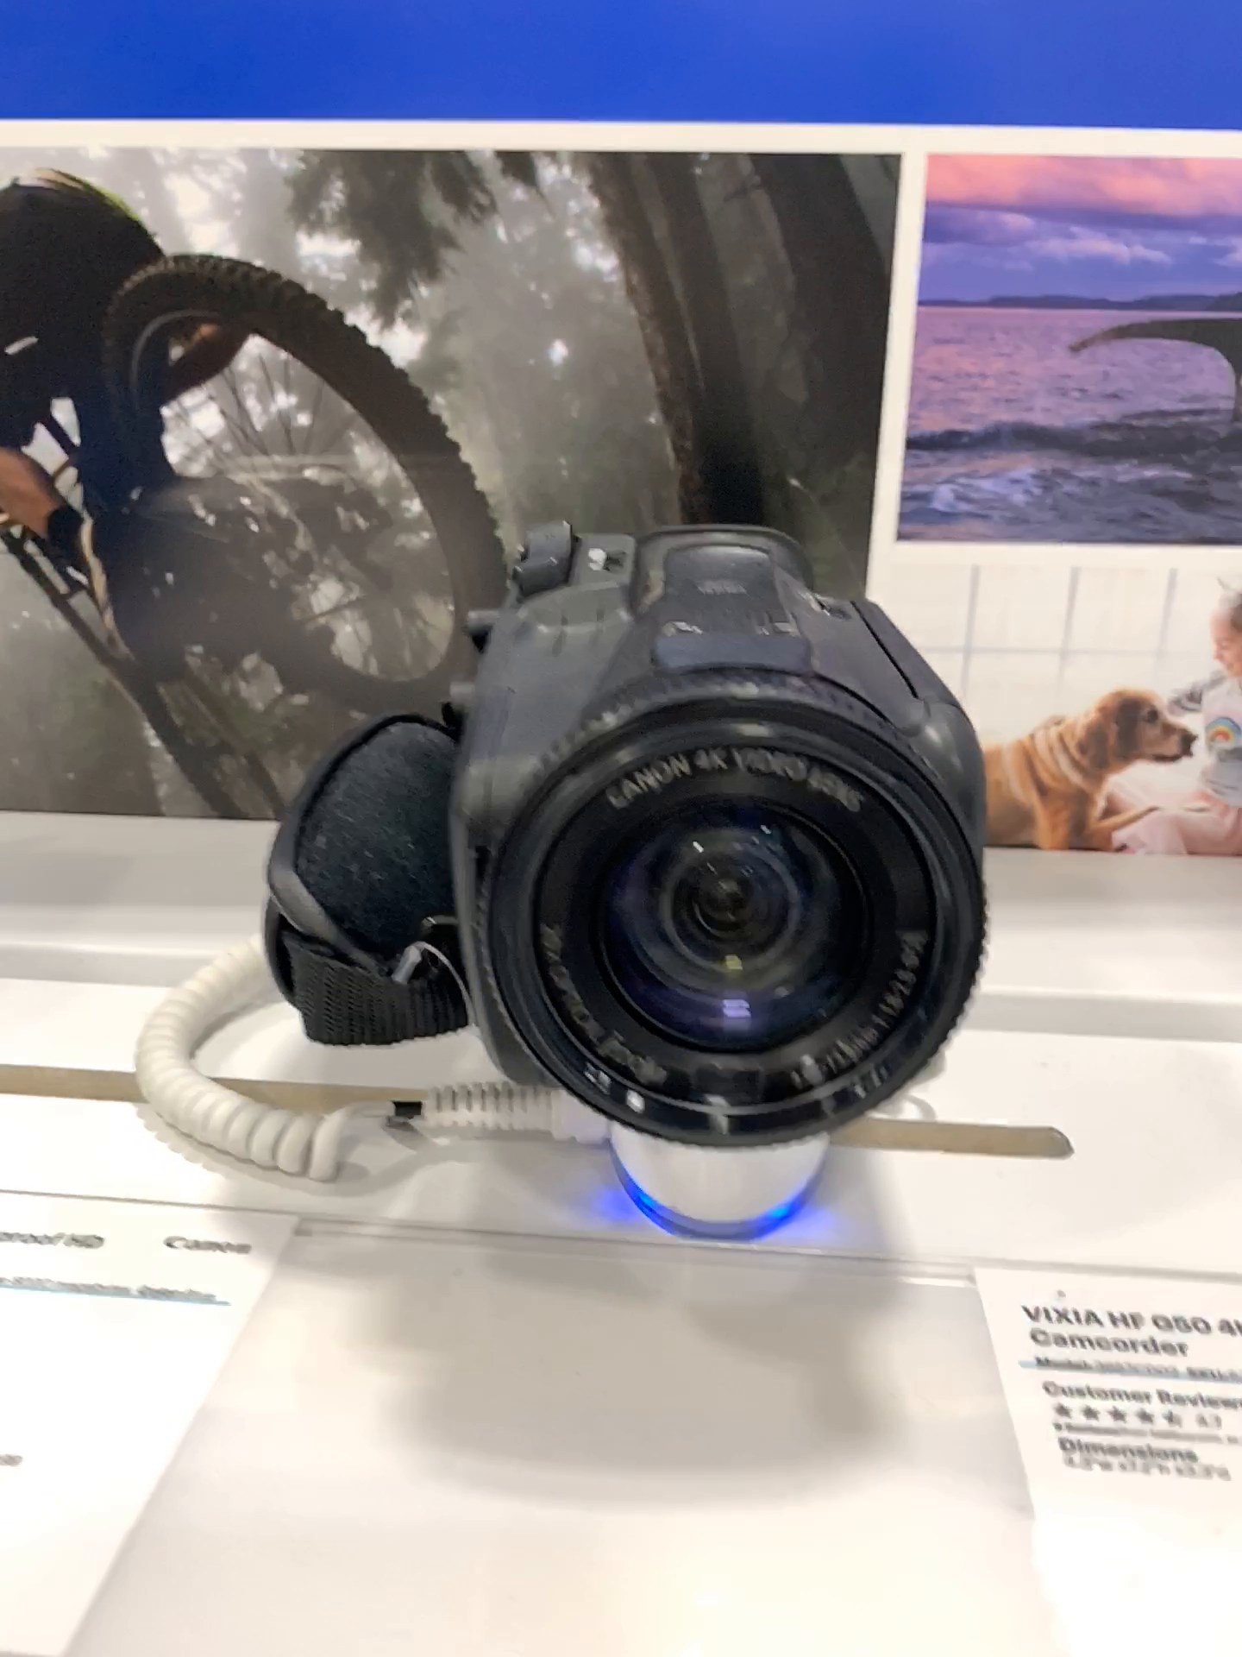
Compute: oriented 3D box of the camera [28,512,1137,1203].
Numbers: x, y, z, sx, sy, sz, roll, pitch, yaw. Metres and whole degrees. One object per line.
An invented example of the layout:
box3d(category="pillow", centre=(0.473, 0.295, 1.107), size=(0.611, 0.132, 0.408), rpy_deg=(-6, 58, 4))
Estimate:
box3d(category="camera", centre=(-0.003, -0.017, 0.259), size=(0.131, 0.069, 0.201), rpy_deg=(3, 18, 2))
